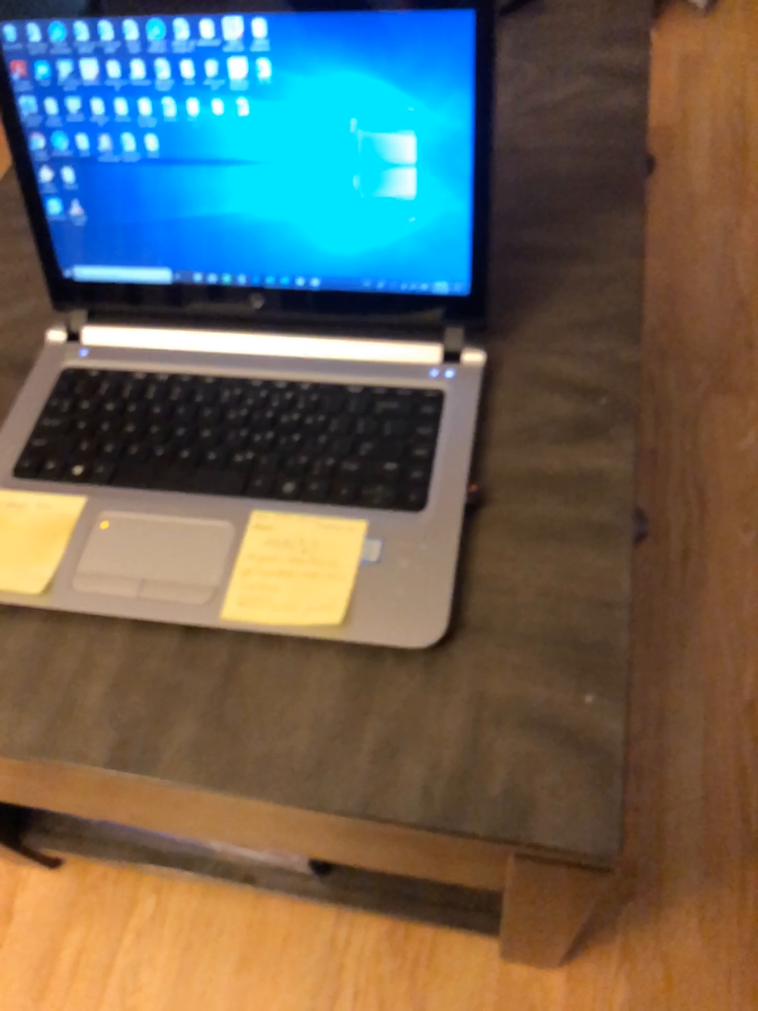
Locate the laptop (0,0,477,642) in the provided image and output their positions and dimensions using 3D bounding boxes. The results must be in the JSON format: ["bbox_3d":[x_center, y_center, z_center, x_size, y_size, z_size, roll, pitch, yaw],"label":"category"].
[{"bbox_3d":[-0.115,-0.122,0.507,0.315,0.203,0.314,5,57,10],"label":"laptop"}]
